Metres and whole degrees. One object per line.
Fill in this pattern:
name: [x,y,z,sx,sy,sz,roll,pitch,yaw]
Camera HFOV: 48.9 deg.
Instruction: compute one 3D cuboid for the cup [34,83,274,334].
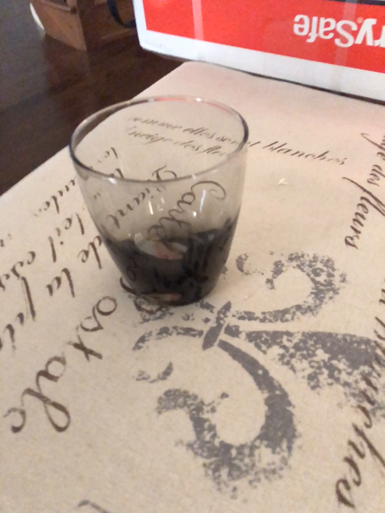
cup: [-0.013,-0.031,0.240,0.088,0.092,0.088,-2,43,2]
